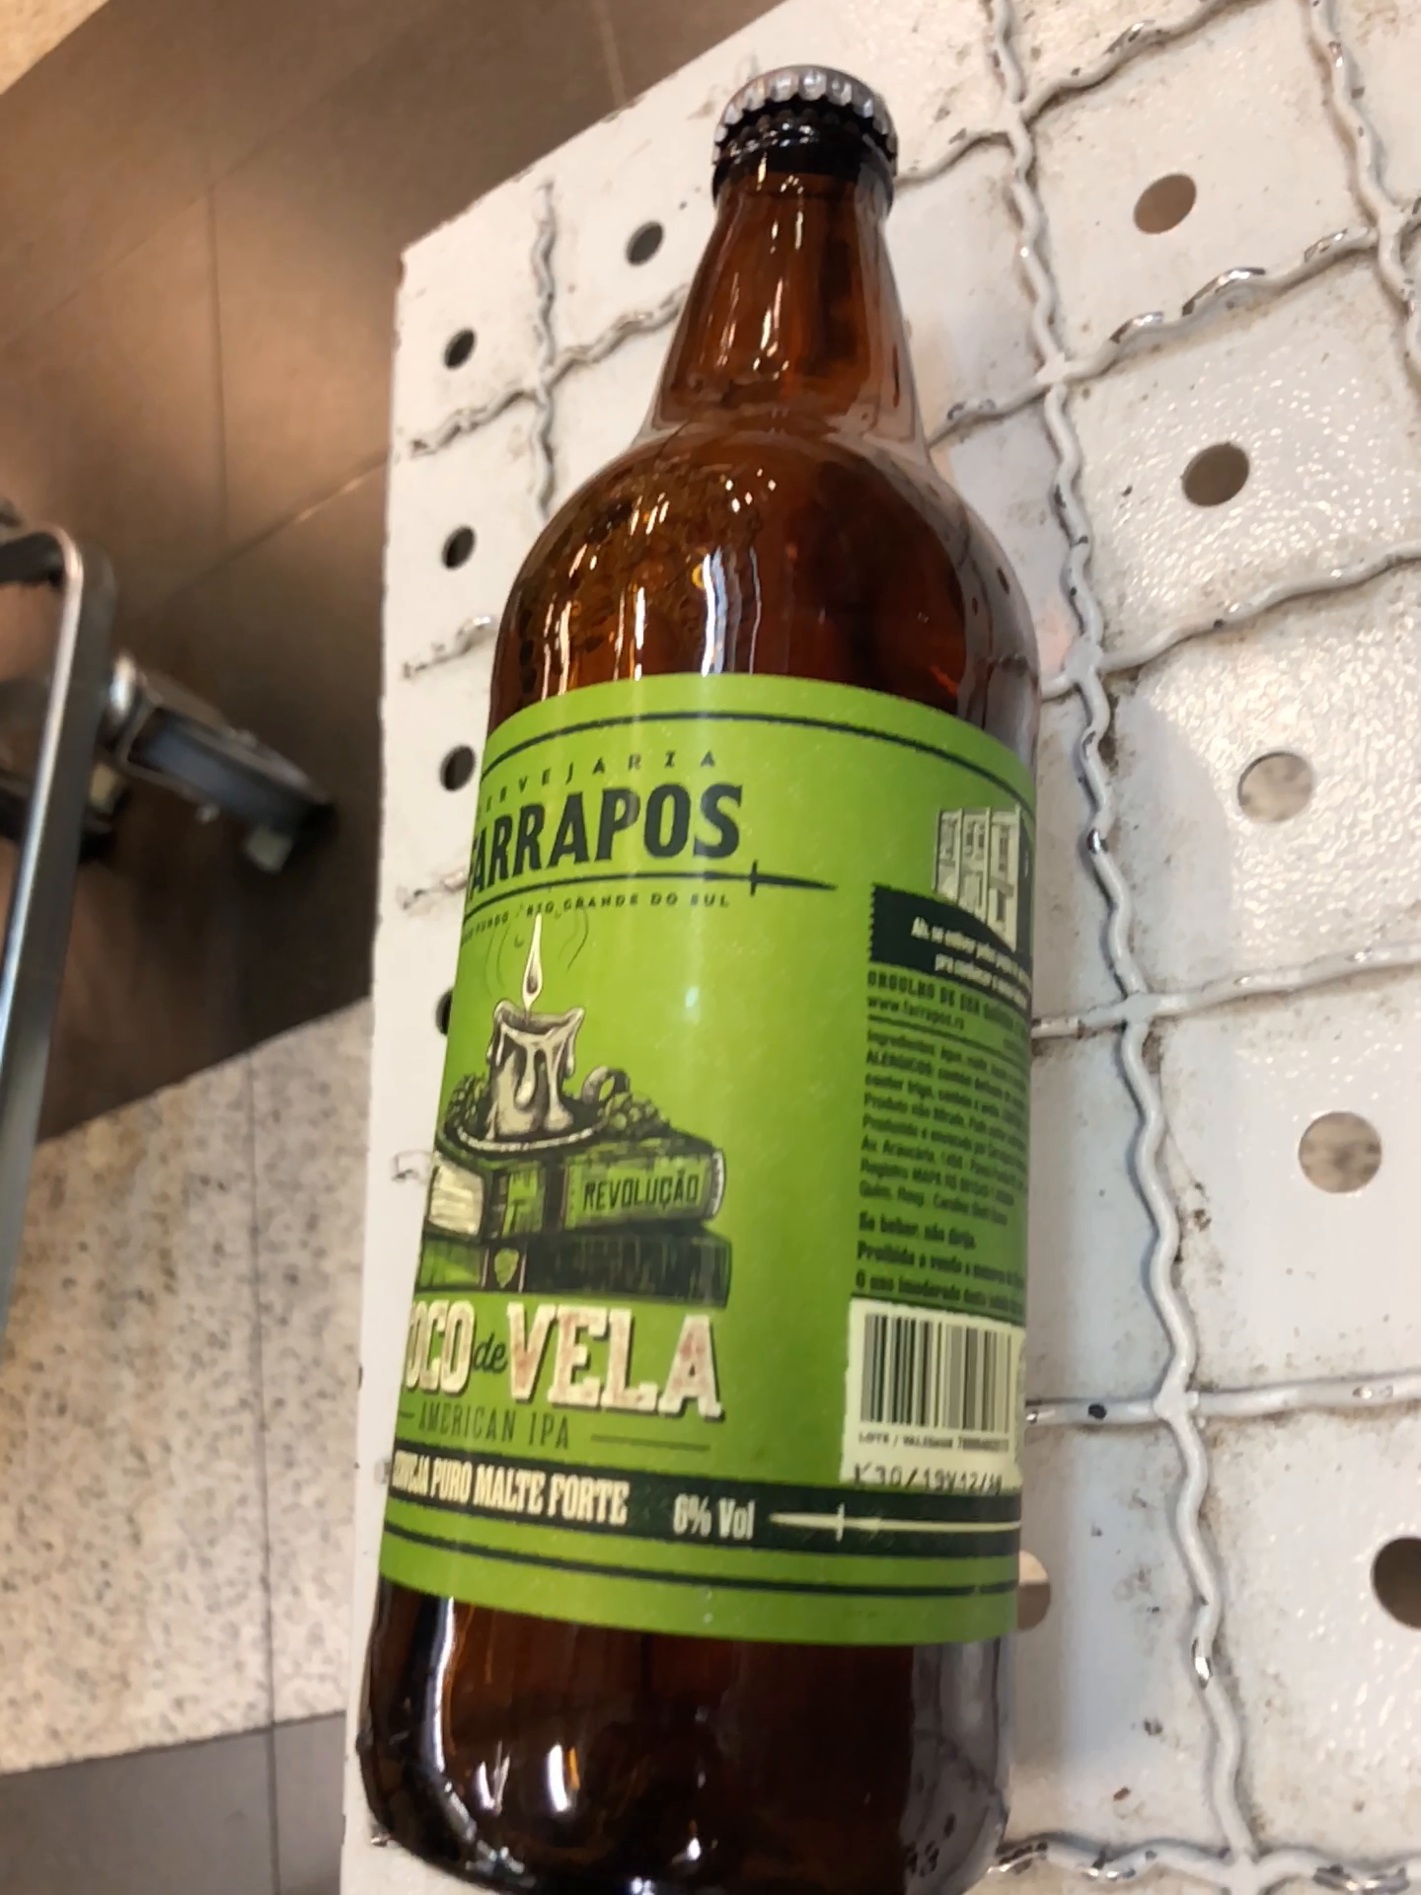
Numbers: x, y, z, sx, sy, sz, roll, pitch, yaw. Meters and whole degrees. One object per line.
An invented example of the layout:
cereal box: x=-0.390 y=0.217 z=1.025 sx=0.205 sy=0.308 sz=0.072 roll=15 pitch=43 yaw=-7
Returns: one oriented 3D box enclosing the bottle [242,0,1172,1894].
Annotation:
bottle: x=0.011 y=-0.028 z=0.212 sx=0.080 sy=0.070 sz=0.260 roll=-5 pitch=73 yaw=32
